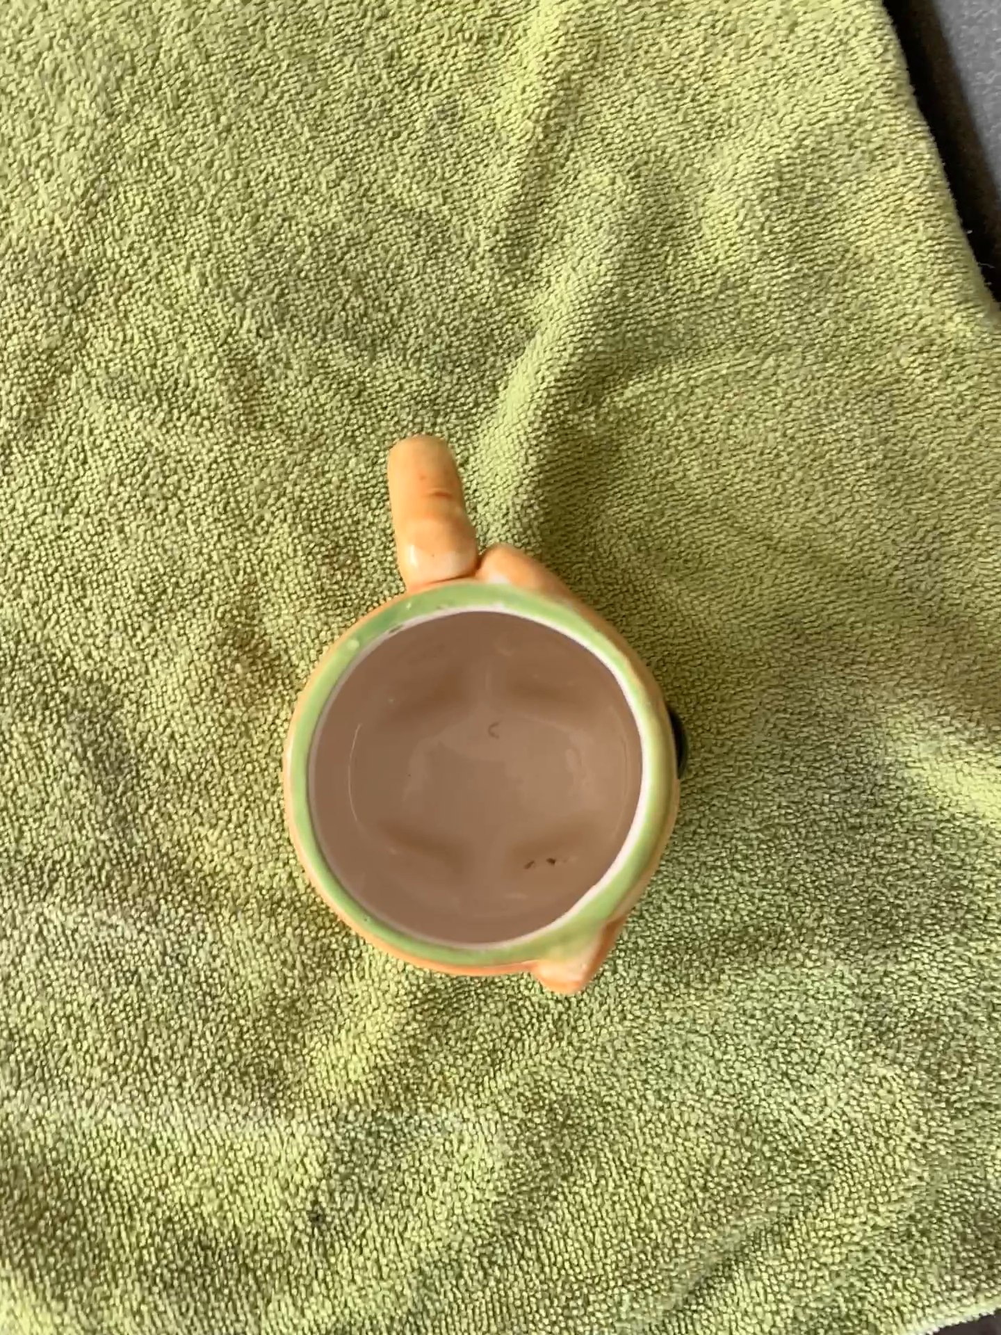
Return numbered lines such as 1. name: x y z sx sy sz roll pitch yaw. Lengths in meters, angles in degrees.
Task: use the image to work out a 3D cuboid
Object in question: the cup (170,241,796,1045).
1. cup: -0.005 -0.003 0.238 0.080 0.100 0.130 -17 86 -2
